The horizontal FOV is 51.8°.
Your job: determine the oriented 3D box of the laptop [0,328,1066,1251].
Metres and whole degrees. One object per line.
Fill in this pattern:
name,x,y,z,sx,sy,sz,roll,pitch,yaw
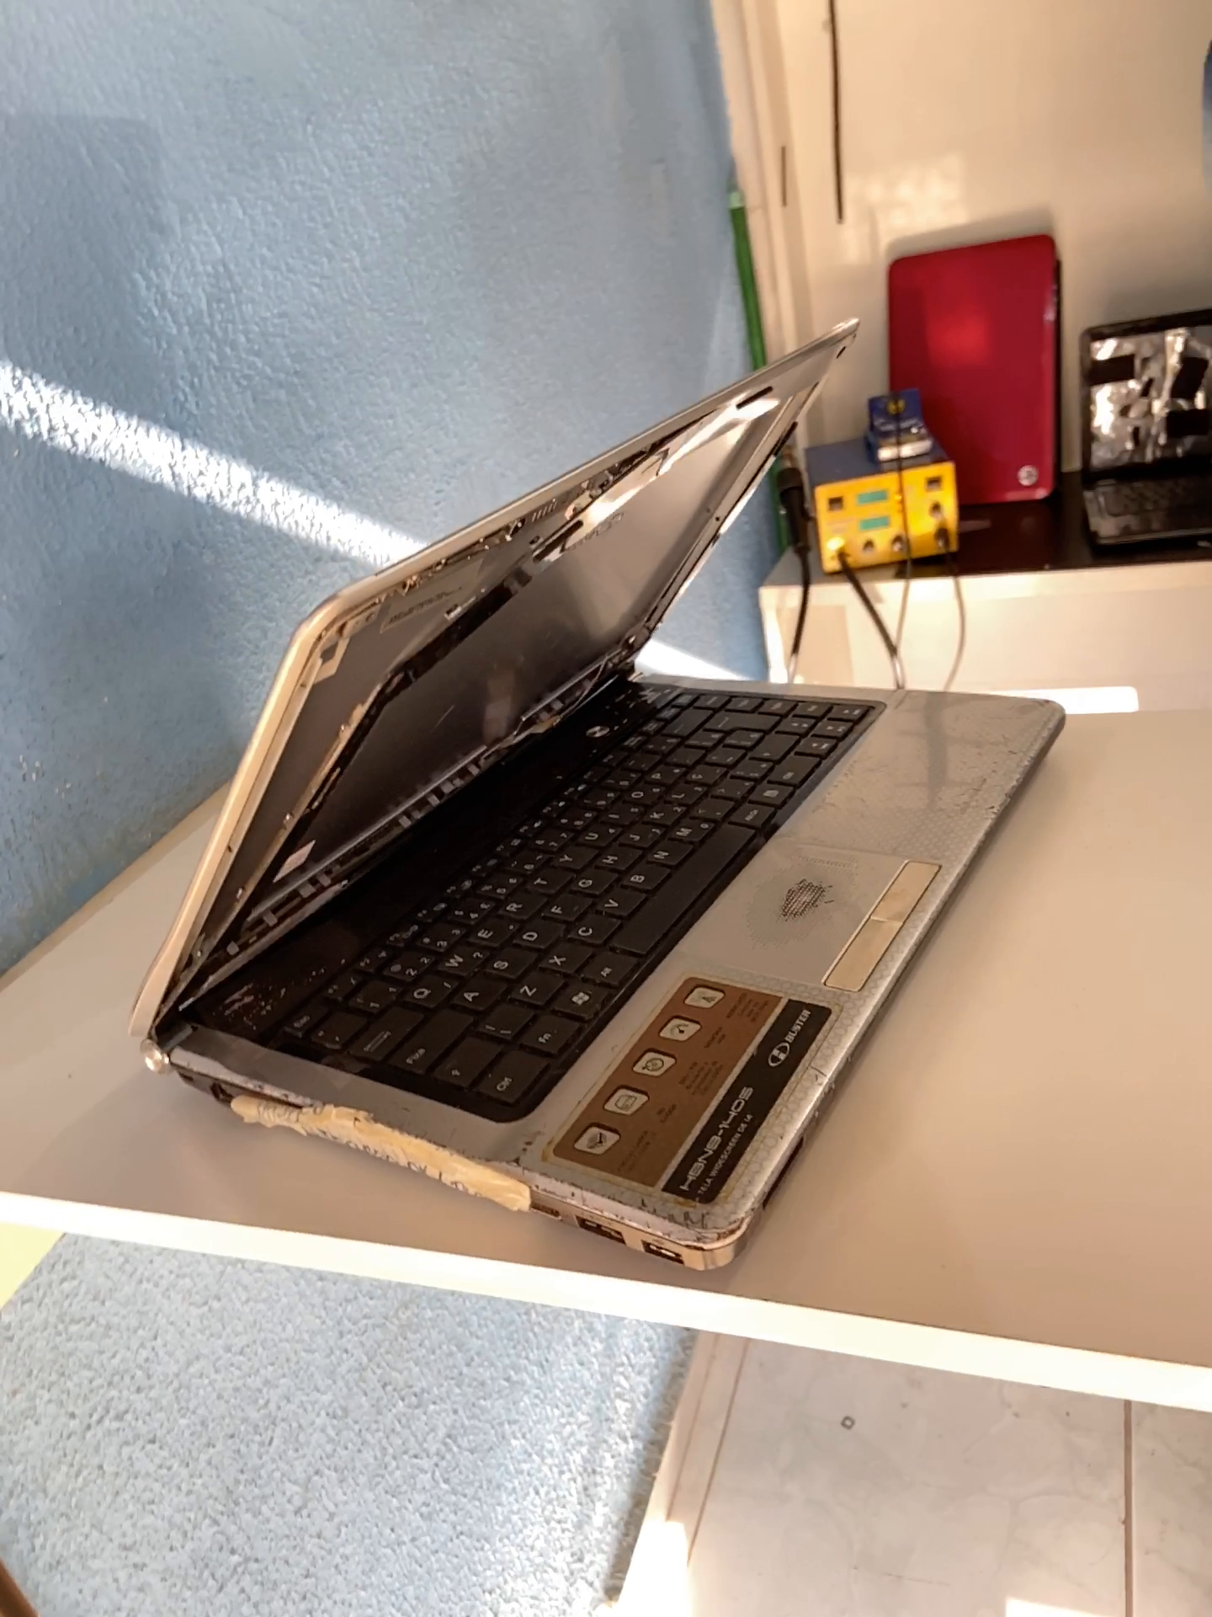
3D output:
laptop,0.002,-0.050,0.459,0.232,0.160,0.327,7,32,33
